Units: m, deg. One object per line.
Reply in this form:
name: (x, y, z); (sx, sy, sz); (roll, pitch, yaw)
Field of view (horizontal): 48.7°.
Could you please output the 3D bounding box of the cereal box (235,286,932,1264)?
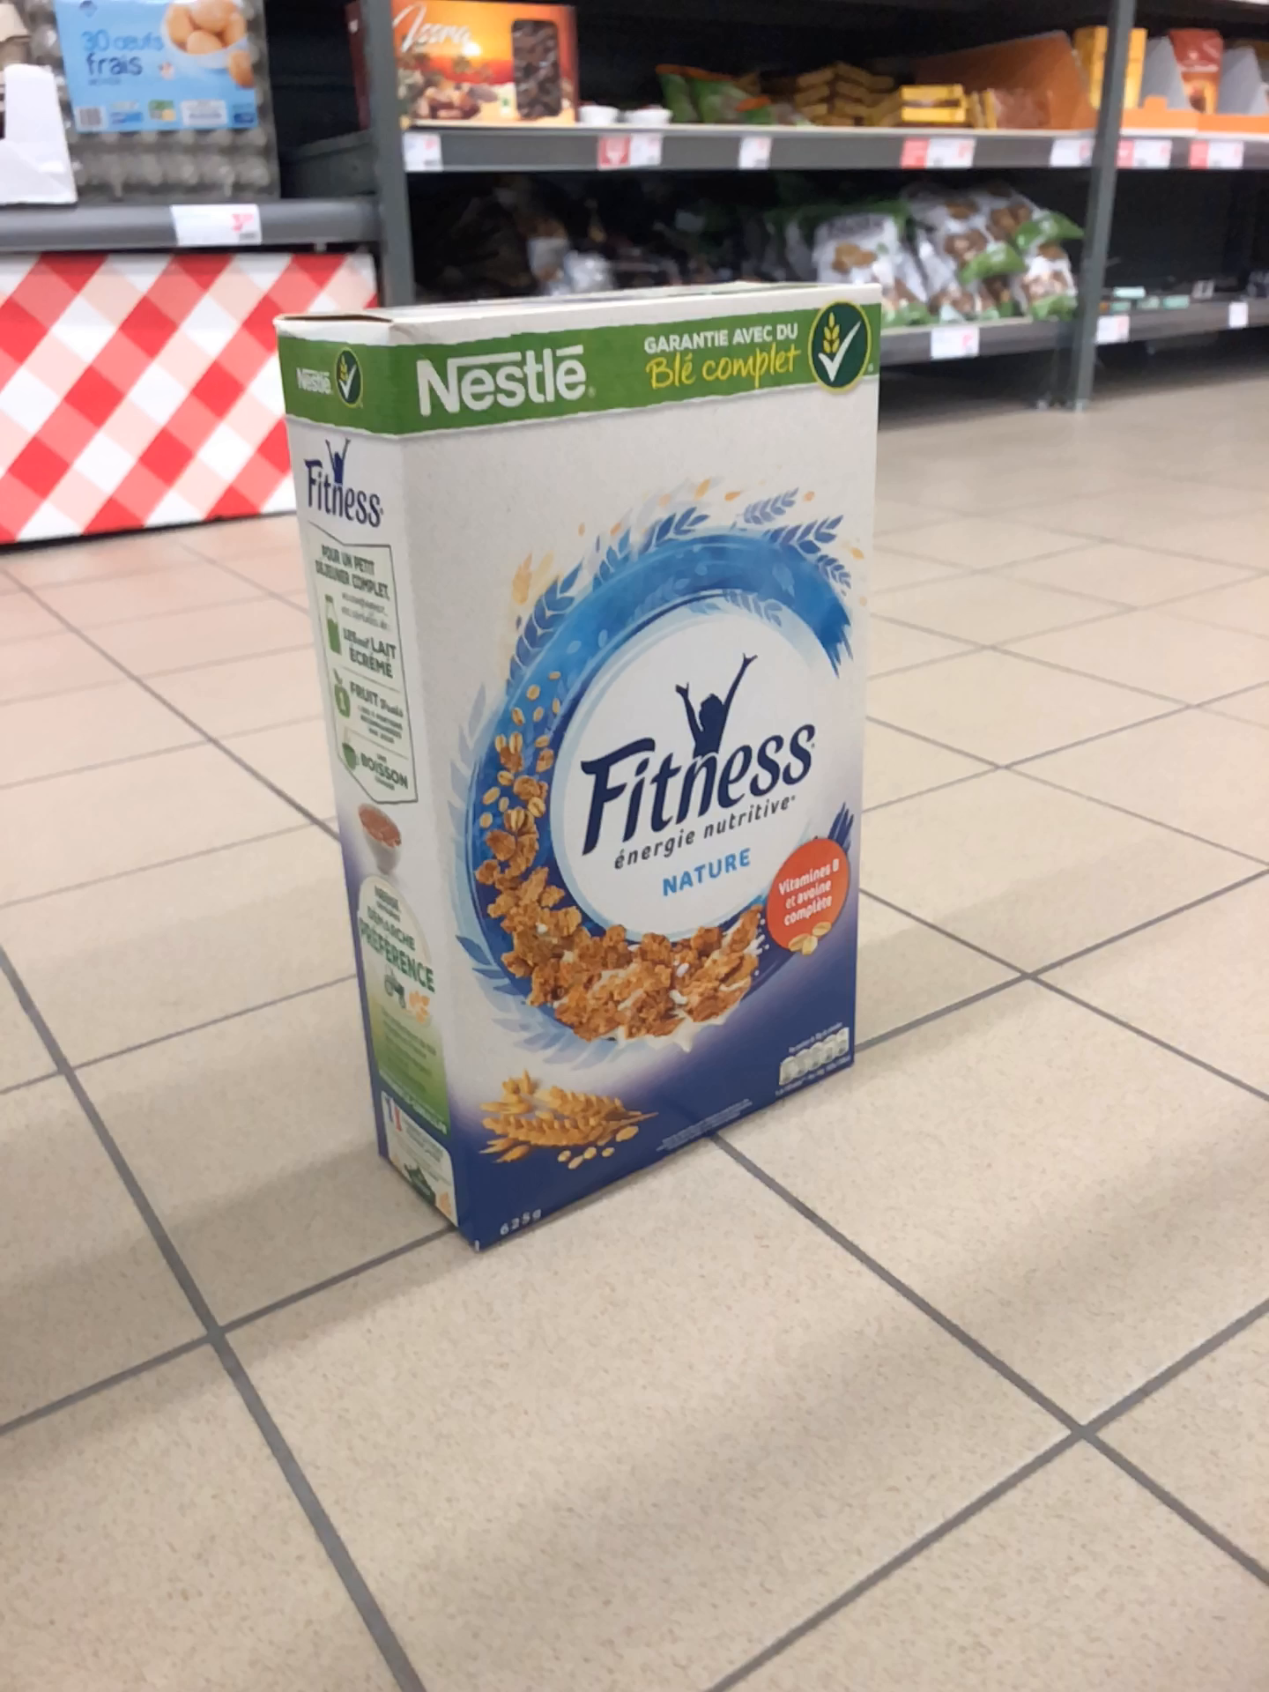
cereal box: (-0.006, -0.037, 0.507); (0.211, 0.298, 0.090); (-18, 28, -33)
